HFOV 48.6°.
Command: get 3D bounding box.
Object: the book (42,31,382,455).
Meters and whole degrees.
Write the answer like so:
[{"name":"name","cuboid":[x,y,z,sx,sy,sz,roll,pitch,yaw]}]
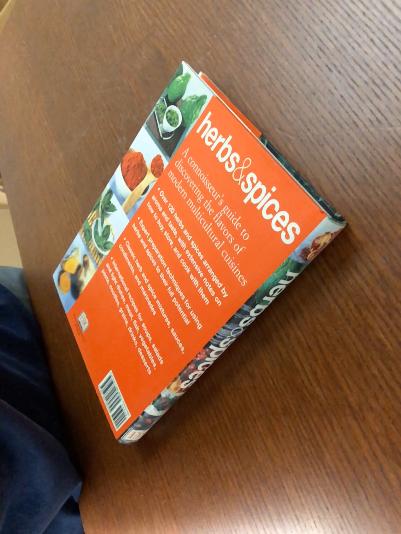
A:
[{"name":"book","cuboid":[-0.030,-0.013,0.367,0.270,0.040,0.211,-50,54,28]}]
